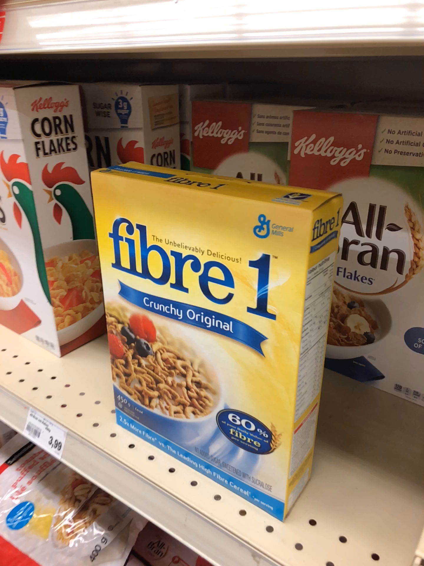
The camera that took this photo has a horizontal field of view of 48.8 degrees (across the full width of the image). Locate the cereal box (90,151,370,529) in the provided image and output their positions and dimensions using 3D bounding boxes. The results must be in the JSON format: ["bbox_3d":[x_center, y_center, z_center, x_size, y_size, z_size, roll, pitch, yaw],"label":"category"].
[{"bbox_3d":[0.003,0.039,0.401,0.211,0.268,0.060,17,30,33],"label":"cereal box"}]
